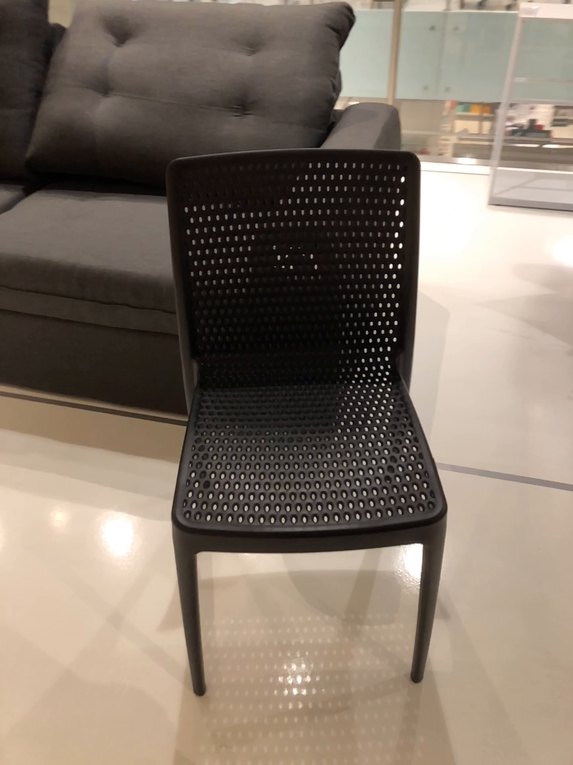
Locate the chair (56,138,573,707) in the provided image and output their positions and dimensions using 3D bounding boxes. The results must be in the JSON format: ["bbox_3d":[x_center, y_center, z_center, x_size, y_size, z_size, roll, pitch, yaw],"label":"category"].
[{"bbox_3d":[0.030,0.073,1.097,0.530,0.784,0.565,-3,38,-1],"label":"chair"}]
